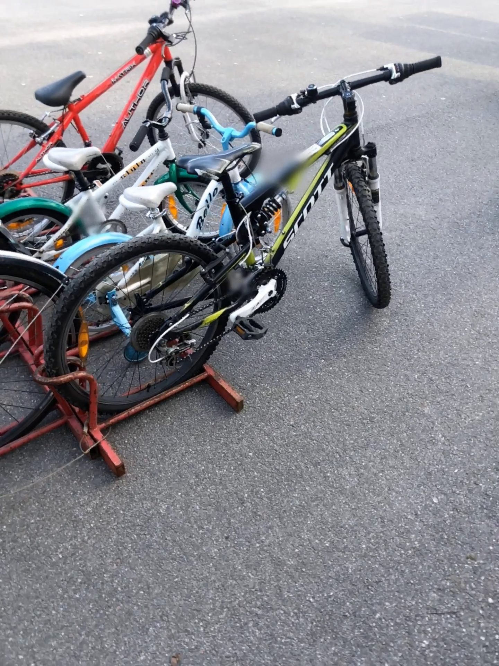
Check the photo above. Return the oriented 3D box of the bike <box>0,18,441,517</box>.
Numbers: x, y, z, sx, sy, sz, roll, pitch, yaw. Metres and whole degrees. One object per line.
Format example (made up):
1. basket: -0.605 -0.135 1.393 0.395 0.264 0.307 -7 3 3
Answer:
1. bike: -0.041 -0.334 1.702 0.529 0.901 1.377 30 47 31
